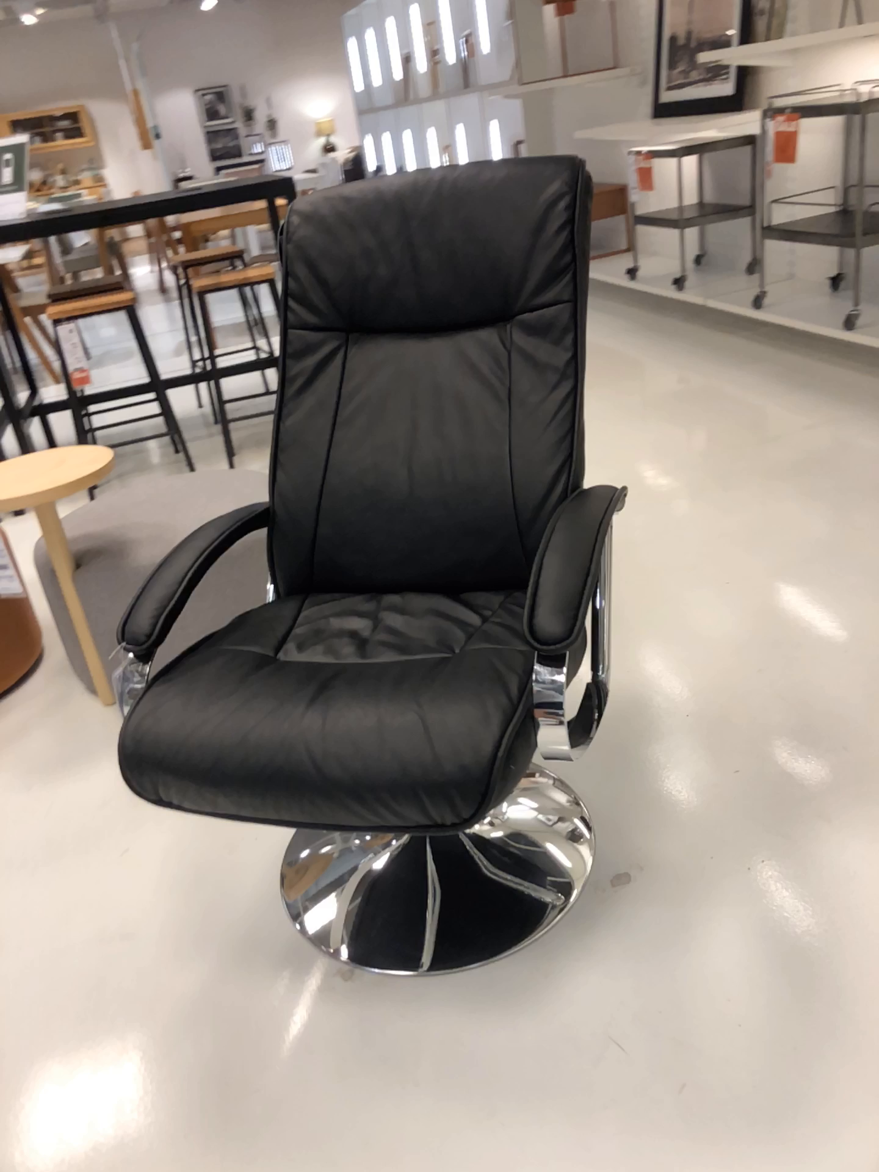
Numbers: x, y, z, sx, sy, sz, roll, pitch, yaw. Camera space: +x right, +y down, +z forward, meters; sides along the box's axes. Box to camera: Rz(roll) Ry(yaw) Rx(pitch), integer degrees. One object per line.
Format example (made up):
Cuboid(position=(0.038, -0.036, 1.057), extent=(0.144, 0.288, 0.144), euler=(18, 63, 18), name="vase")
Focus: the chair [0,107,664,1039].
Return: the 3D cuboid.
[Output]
Cuboid(position=(-0.069, -0.040, 1.479), extent=(0.750, 1.132, 0.725), euler=(-2, 26, 14), name="chair")
